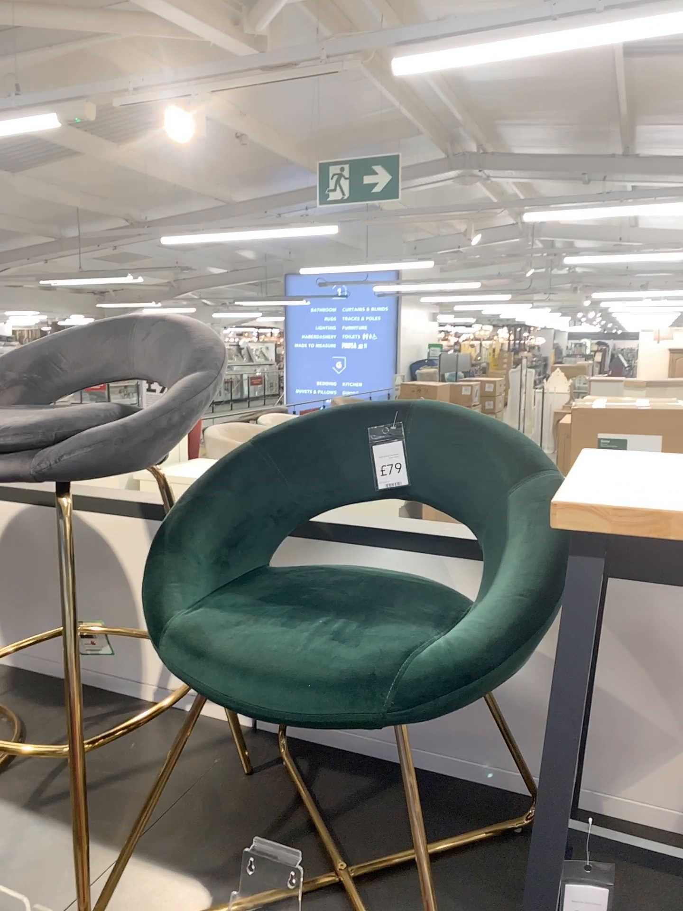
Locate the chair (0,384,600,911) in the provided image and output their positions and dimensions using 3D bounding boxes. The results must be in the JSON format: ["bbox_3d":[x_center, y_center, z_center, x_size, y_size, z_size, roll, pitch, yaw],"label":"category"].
[{"bbox_3d":[0.008,0.266,1.060,0.634,0.698,0.670,4,9,25],"label":"chair"}]
